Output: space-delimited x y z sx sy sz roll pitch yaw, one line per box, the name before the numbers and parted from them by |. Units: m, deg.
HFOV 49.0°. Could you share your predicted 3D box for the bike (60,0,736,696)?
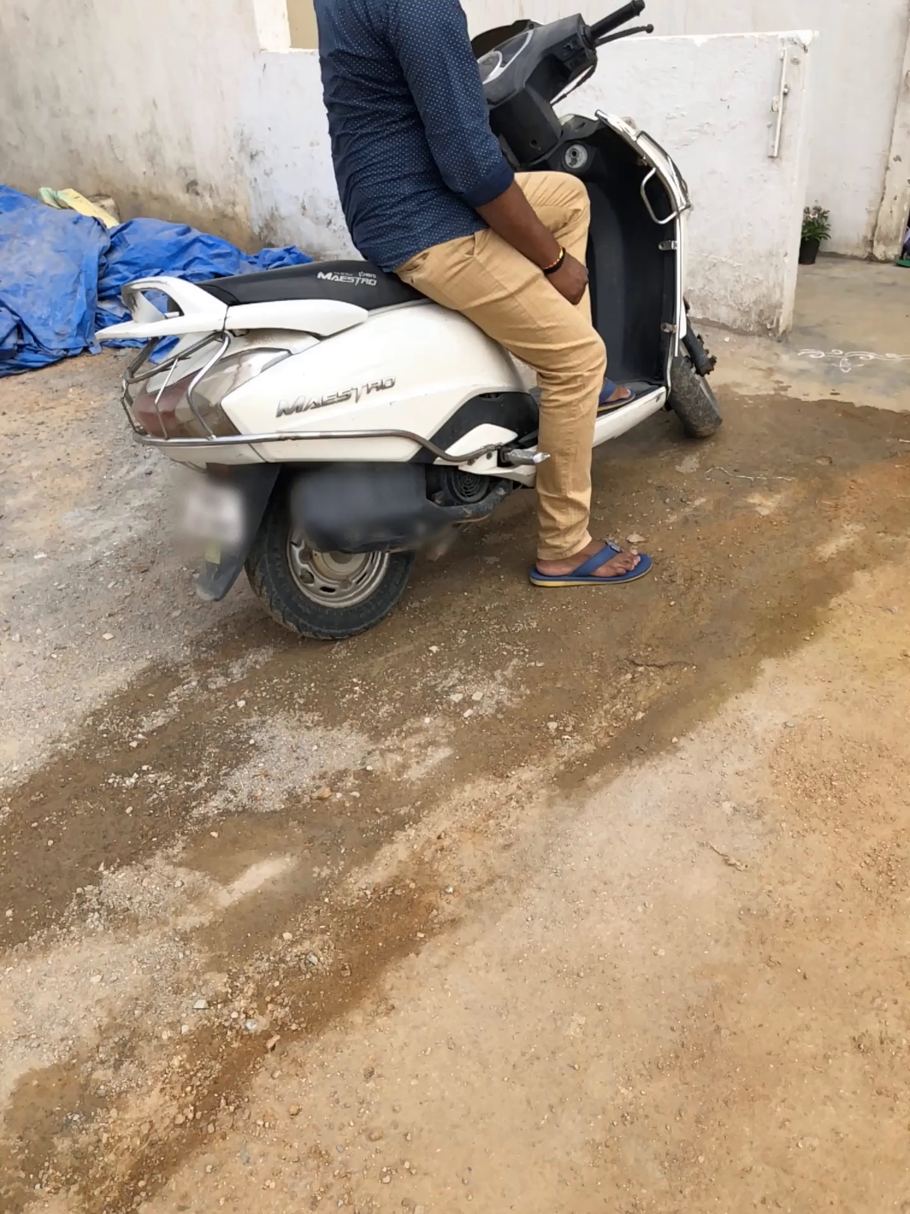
bike | -0.014 -0.863 2.438 0.600 1.231 1.563 22 43 36
